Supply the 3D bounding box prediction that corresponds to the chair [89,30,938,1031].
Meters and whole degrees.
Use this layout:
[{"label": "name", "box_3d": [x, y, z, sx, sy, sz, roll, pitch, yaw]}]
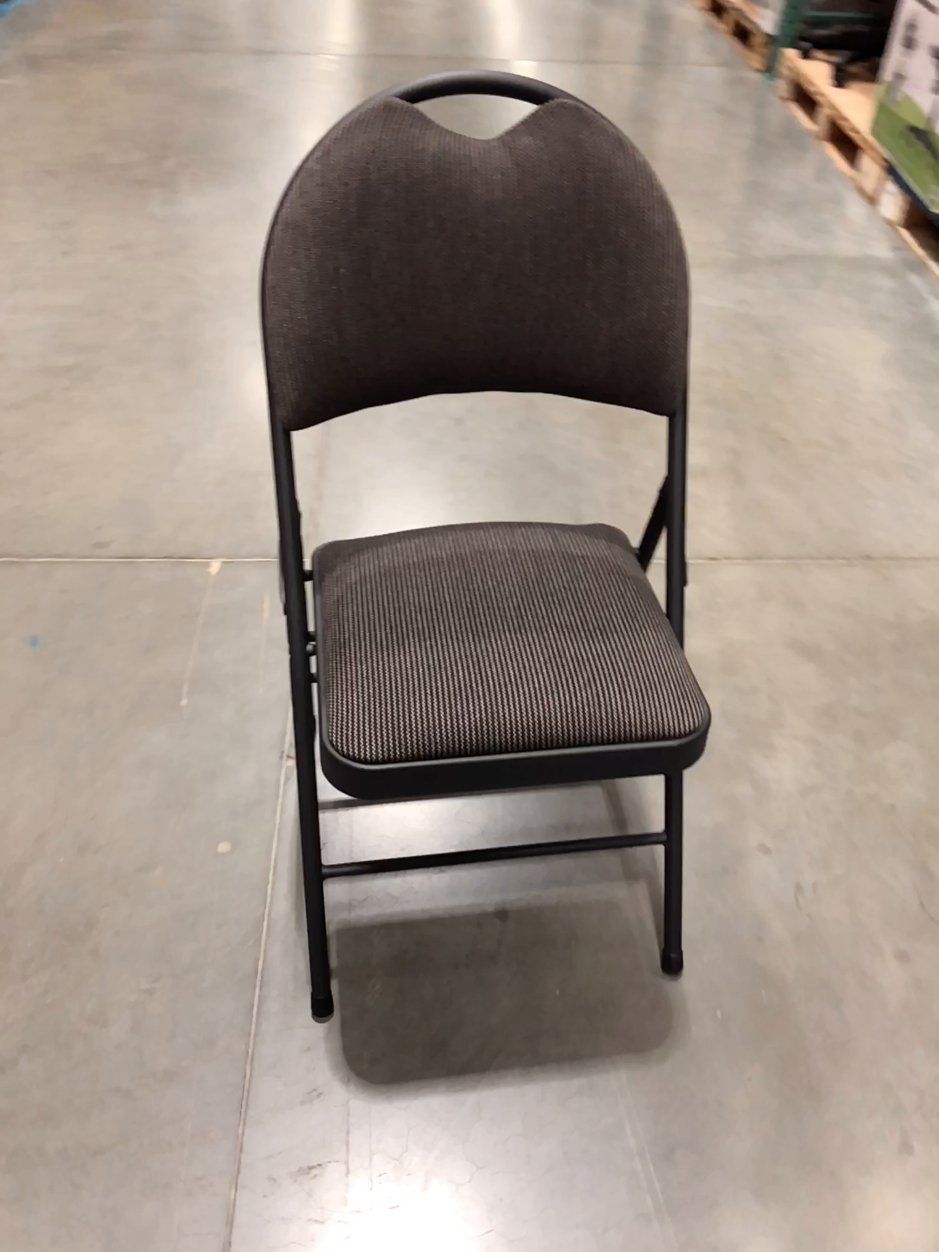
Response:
[{"label": "chair", "box_3d": [0.005, -0.068, 1.091, 0.520, 0.866, 0.562, -2, 42, -5]}]
